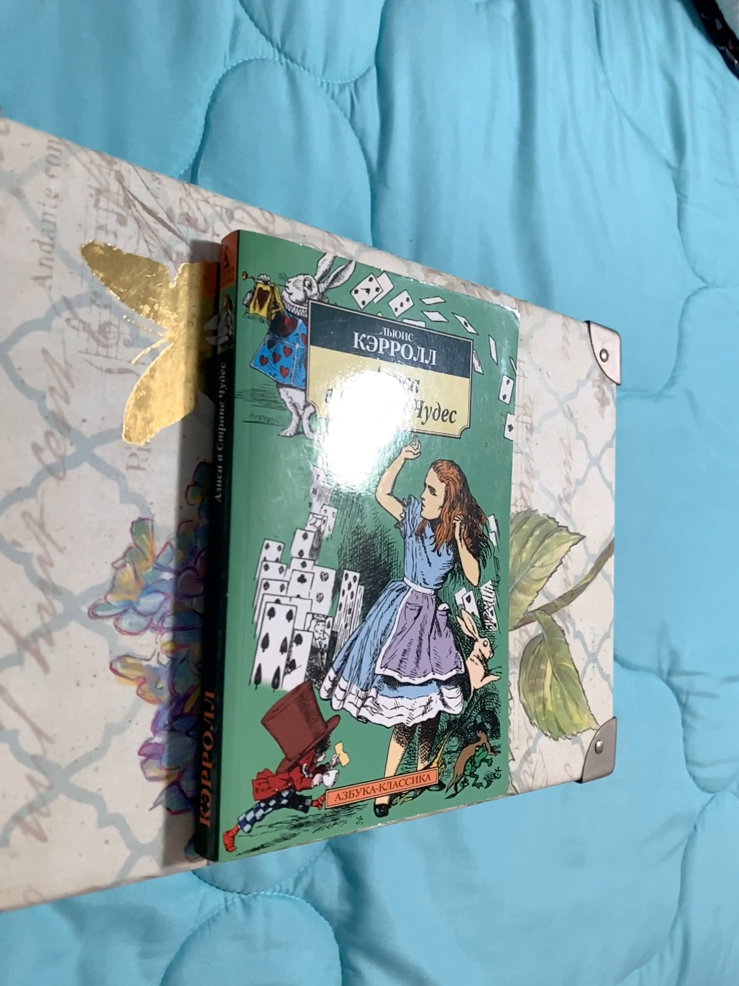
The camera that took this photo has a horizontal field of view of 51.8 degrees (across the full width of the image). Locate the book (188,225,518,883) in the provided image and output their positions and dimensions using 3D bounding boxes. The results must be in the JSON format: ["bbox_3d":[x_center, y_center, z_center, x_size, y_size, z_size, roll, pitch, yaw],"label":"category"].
[{"bbox_3d":[0.002,0.018,0.252,0.119,0.018,0.179,4,85,-38],"label":"book"}]
